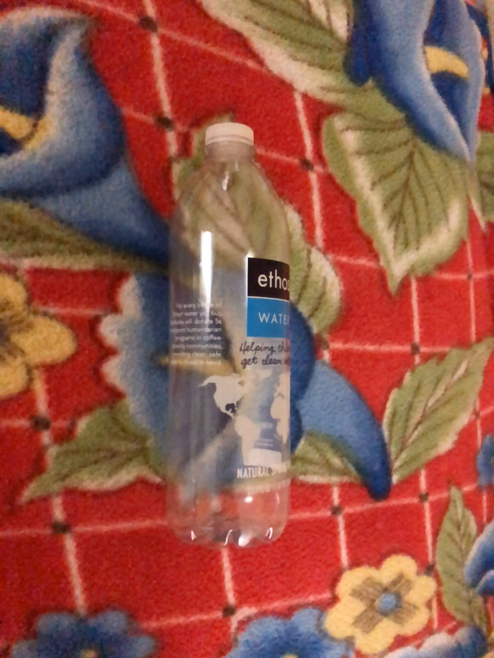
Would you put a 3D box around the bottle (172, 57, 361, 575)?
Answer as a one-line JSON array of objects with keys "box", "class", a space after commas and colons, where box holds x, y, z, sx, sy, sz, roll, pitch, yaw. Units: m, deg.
[{"box": [0.011, -0.006, 0.303, 0.070, 0.070, 0.240, 1, 90, -51], "class": "bottle"}]
